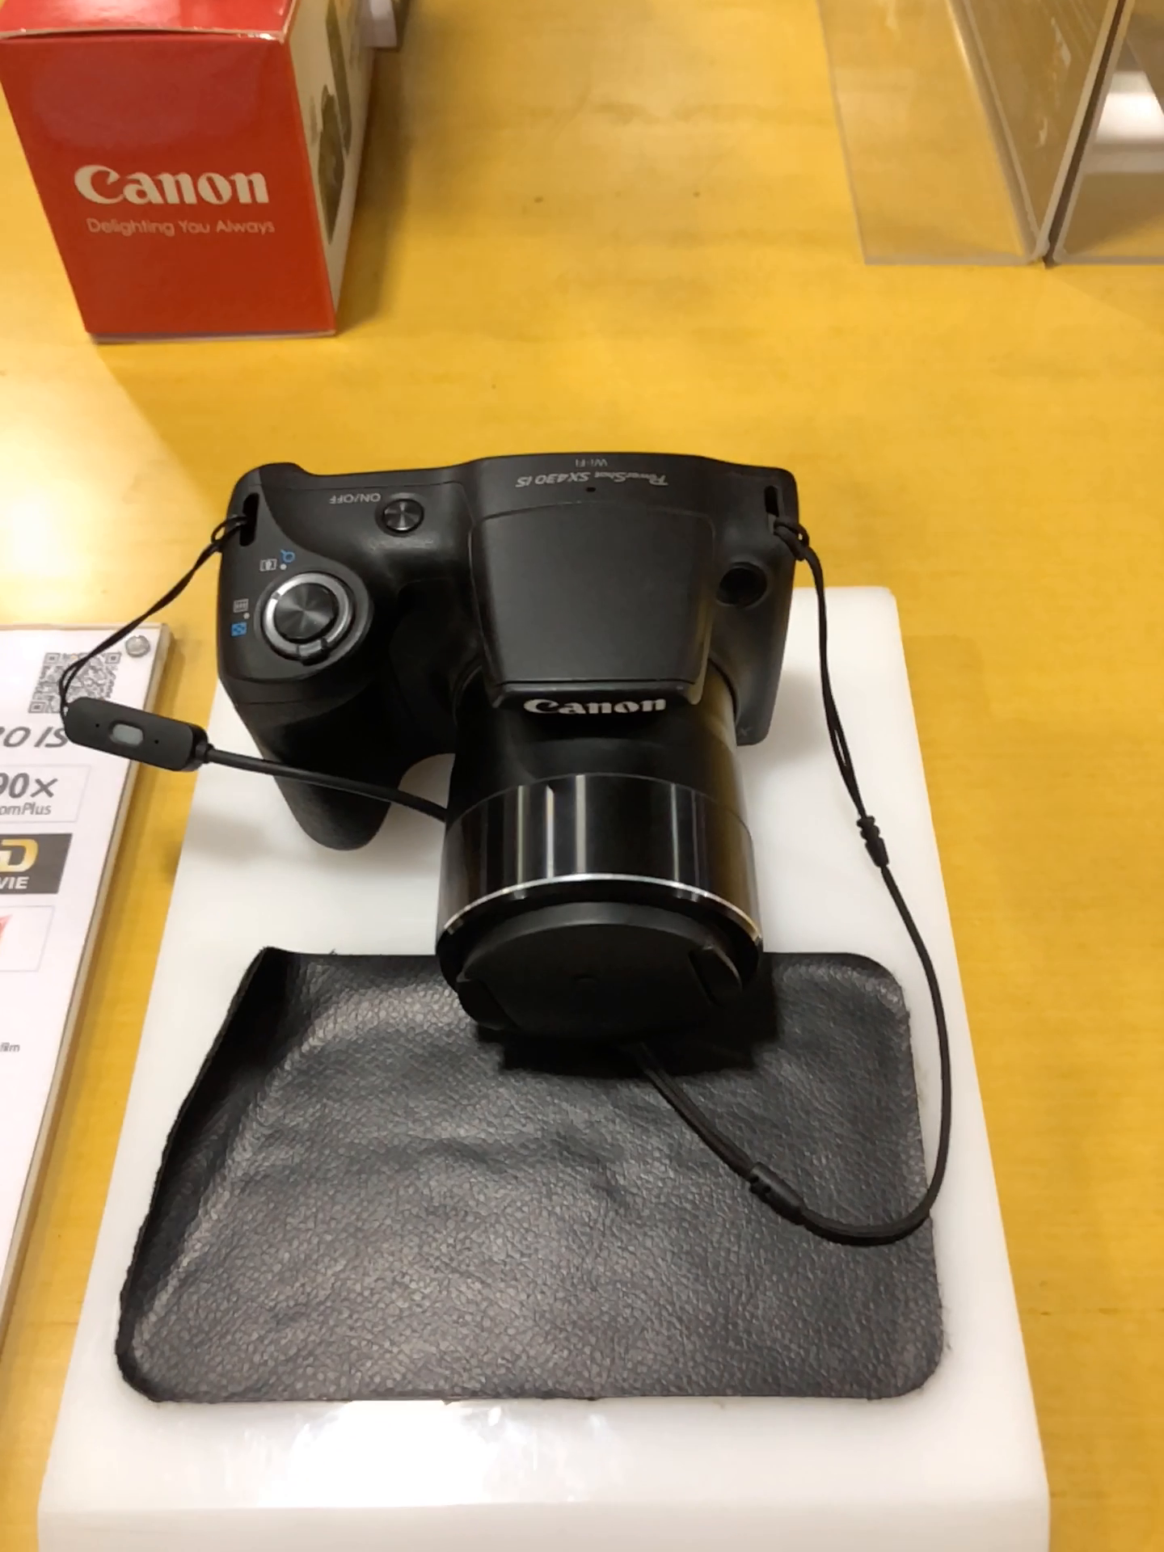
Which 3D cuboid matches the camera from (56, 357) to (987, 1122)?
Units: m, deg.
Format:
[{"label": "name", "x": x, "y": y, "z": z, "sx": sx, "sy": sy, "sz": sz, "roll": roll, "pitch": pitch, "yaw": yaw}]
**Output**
[{"label": "camera", "x": -0.007, "y": -0.003, "z": 0.216, "sx": 0.110, "sy": 0.089, "sz": 0.091, "roll": -1, "pitch": 55, "yaw": 0}]
